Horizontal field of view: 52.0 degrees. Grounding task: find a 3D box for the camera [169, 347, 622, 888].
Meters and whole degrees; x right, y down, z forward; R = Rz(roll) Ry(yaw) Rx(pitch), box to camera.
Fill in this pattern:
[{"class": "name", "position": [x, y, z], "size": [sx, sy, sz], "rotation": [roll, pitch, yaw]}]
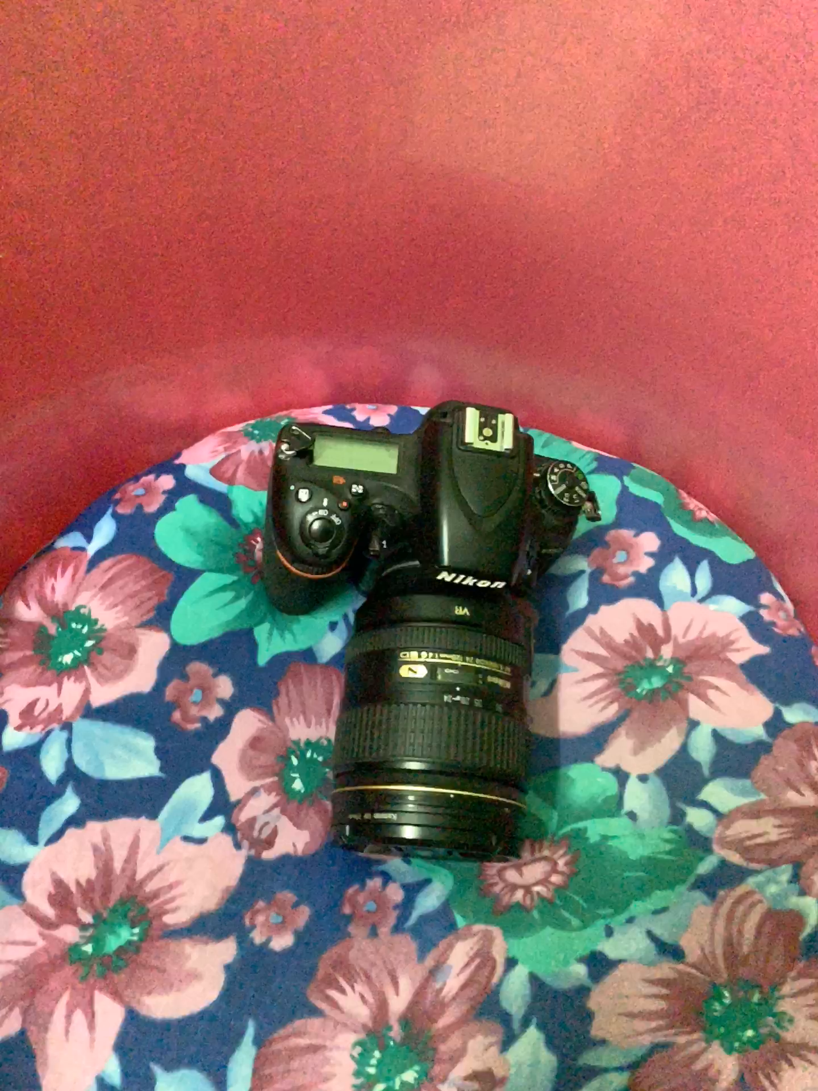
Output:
[{"class": "camera", "position": [-0.003, 0.035, 0.346], "size": [0.140, 0.111, 0.180], "rotation": [7, 63, -5]}]
